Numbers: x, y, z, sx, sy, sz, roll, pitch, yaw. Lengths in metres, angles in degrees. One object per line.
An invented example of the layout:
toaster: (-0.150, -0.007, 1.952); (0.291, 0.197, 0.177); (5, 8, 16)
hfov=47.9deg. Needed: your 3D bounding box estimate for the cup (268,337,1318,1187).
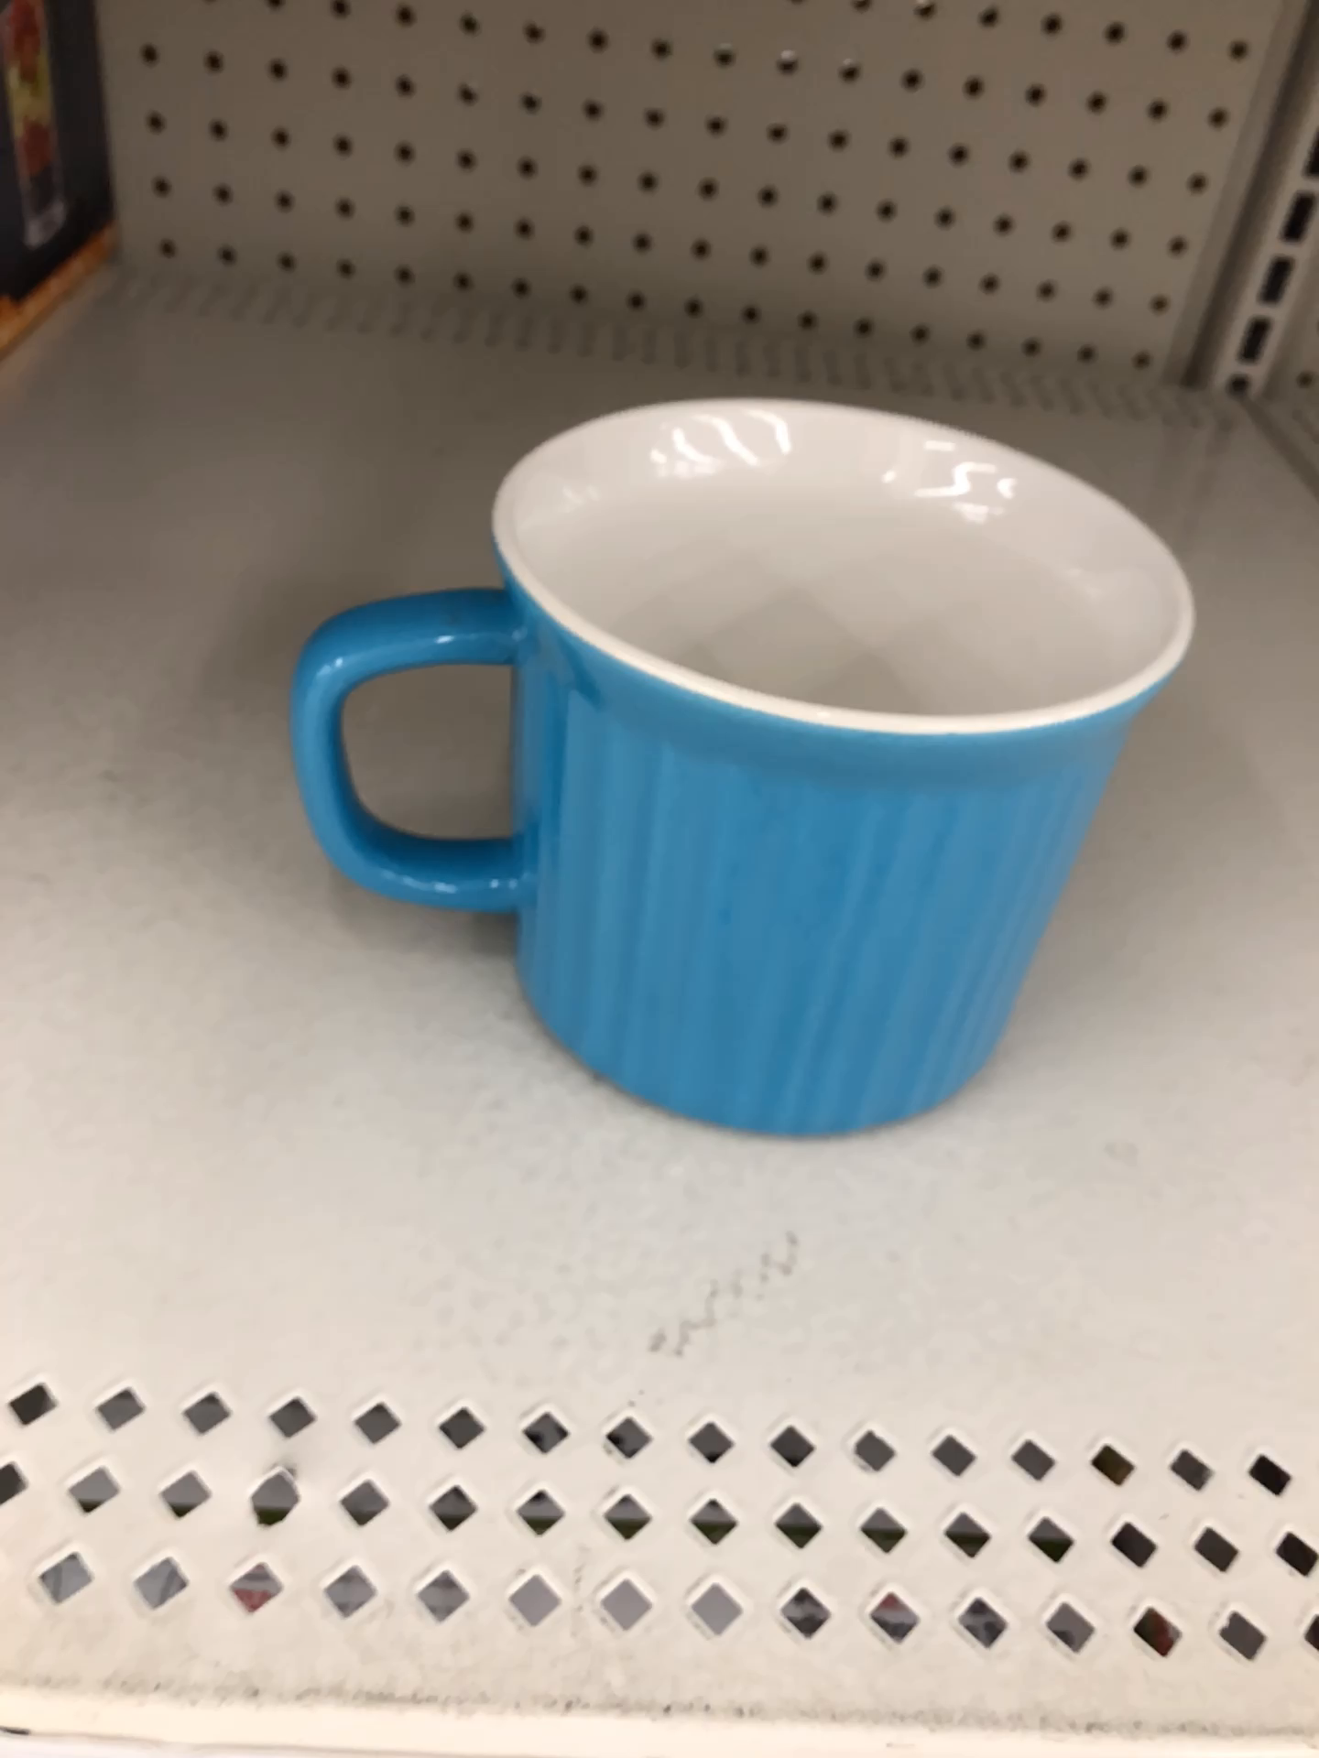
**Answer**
cup: (0.013, -0.031, 0.280); (0.161, 0.093, 0.126); (-3, 40, -14)
